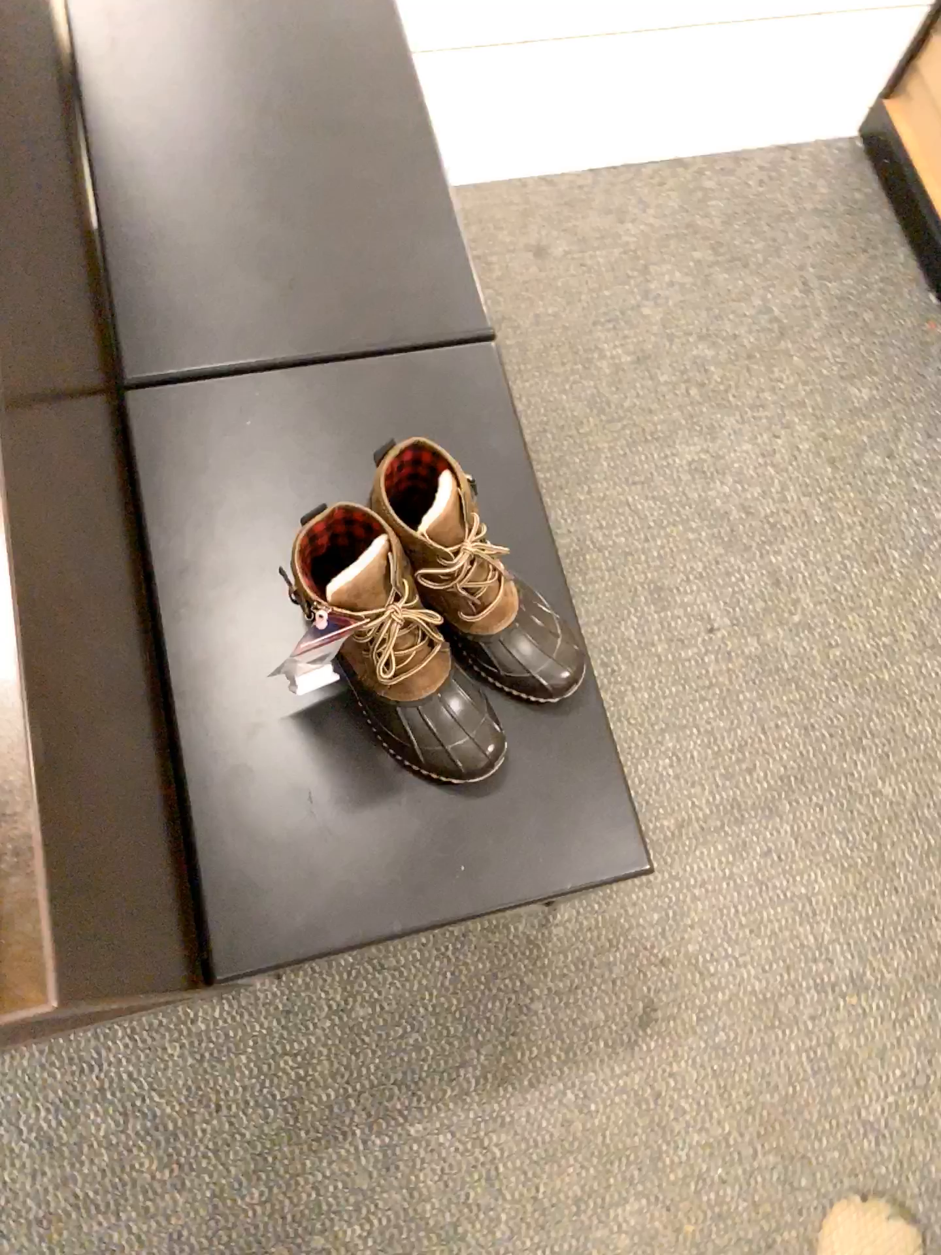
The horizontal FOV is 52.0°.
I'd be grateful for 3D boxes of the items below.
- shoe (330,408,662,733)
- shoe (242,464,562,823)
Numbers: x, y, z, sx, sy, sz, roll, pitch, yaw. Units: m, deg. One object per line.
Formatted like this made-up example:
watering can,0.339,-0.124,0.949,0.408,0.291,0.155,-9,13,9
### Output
shoe,0.012,-0.041,0.800,0.240,0.150,0.100,36,70,7
shoe,-0.058,0.019,0.764,0.100,0.150,0.240,-38,78,-17
